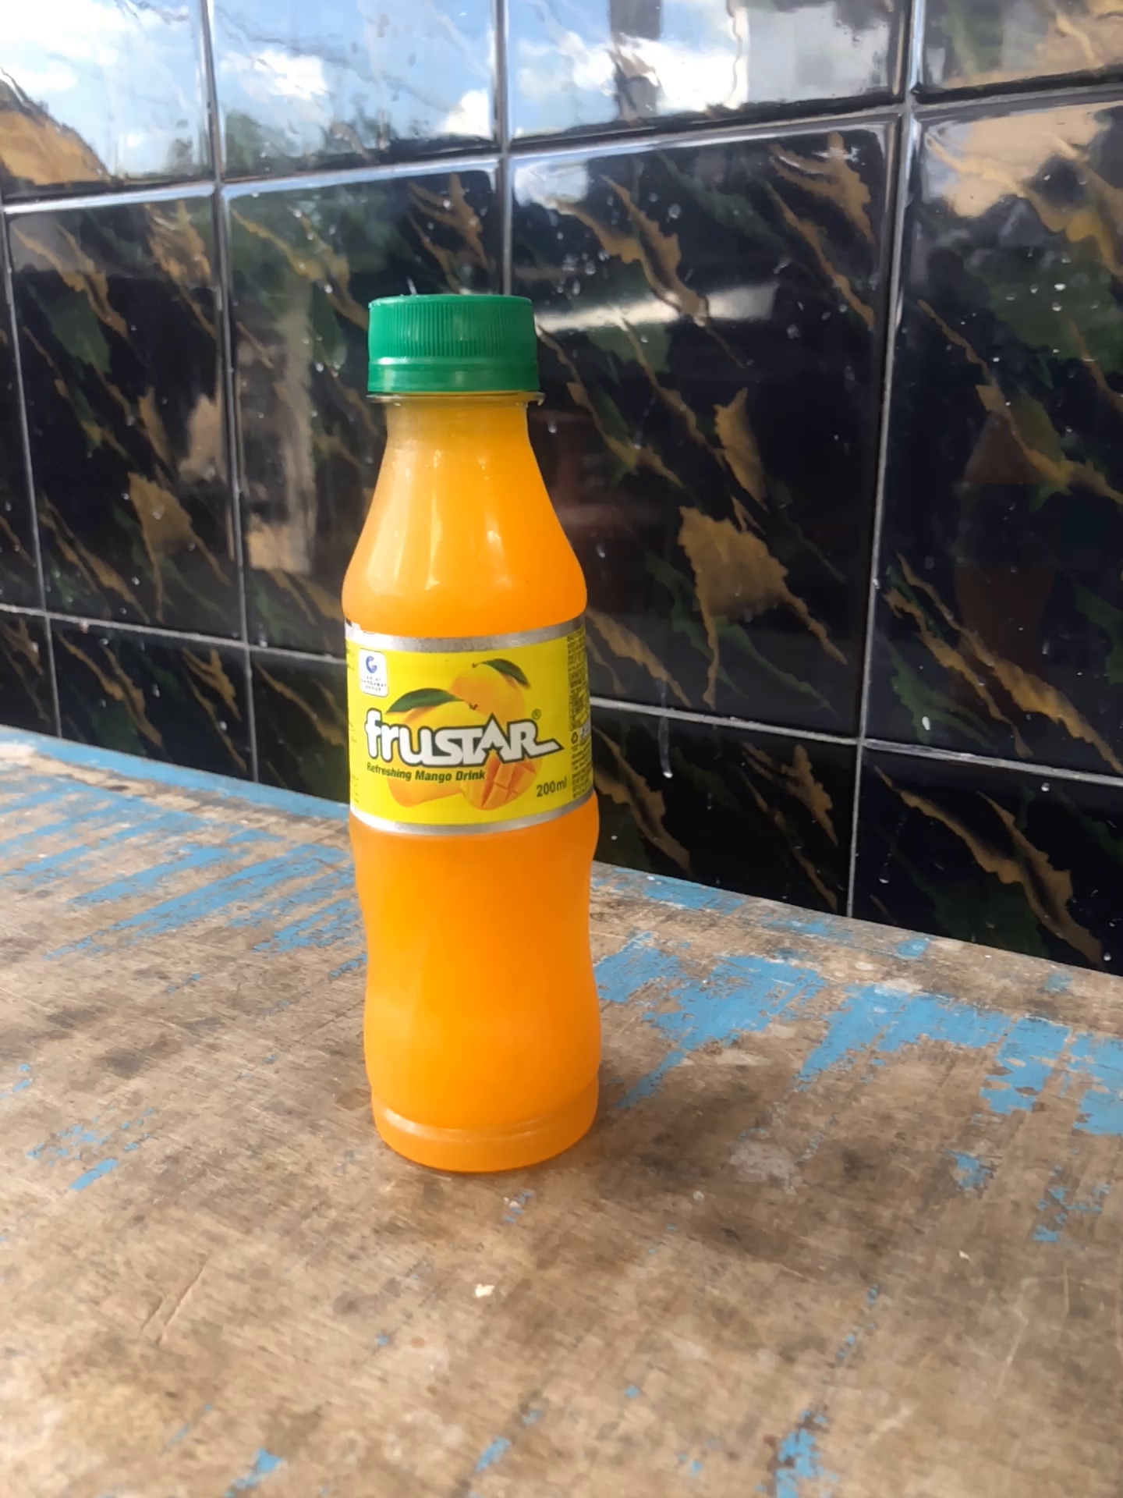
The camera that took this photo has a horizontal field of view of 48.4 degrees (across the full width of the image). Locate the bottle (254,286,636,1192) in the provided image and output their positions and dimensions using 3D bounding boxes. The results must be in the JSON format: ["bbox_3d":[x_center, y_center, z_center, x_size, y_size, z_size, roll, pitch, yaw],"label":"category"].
[{"bbox_3d":[-0.018,-0.002,0.253,0.060,0.169,0.050,2,16,8],"label":"bottle"}]
